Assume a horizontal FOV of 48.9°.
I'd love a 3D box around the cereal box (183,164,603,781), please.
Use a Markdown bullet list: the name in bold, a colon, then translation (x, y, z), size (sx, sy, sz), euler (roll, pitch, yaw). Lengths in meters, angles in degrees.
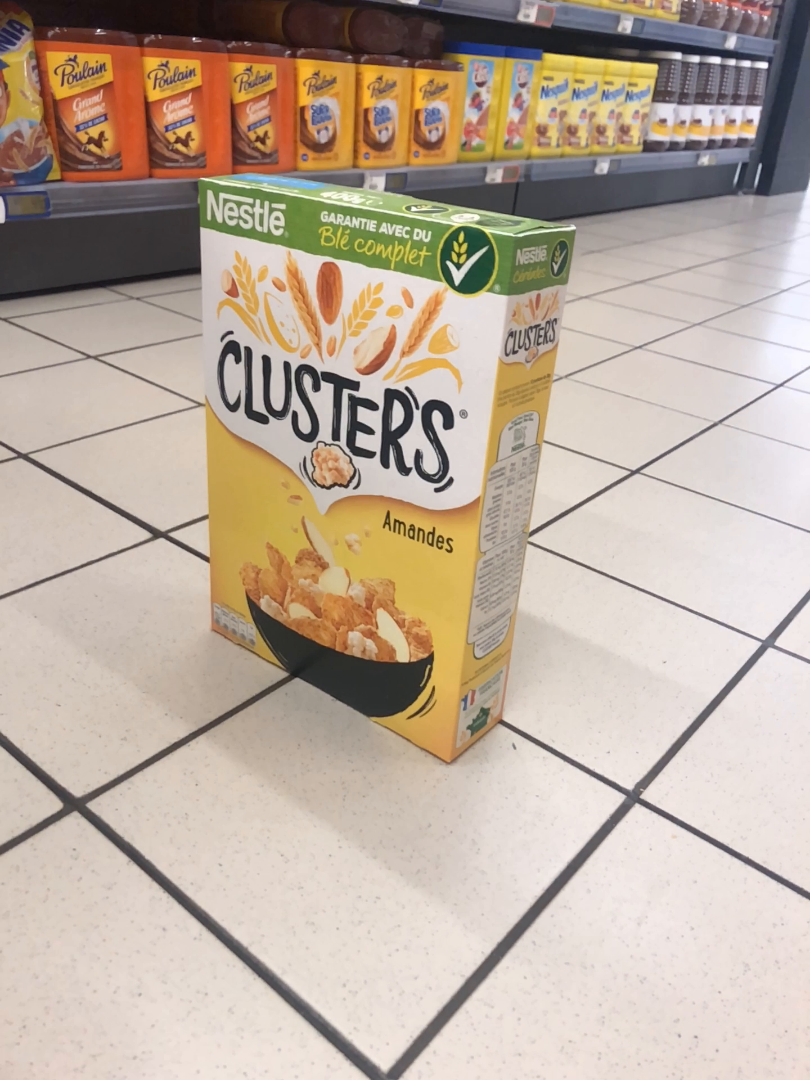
- **cereal box**: translation (-0.024, -0.043, 0.483), size (0.210, 0.278, 0.060), euler (23, 31, 33)
